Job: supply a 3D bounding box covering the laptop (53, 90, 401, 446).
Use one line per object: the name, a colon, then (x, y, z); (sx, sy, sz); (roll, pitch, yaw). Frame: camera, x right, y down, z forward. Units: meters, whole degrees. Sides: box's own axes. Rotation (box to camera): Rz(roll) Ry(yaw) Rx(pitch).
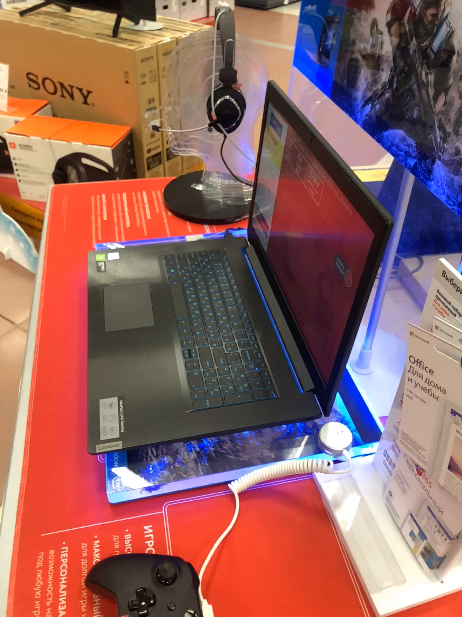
laptop: (-0.043, -0.085, 0.663); (0.294, 0.255, 0.406); (-7, 38, -8)
